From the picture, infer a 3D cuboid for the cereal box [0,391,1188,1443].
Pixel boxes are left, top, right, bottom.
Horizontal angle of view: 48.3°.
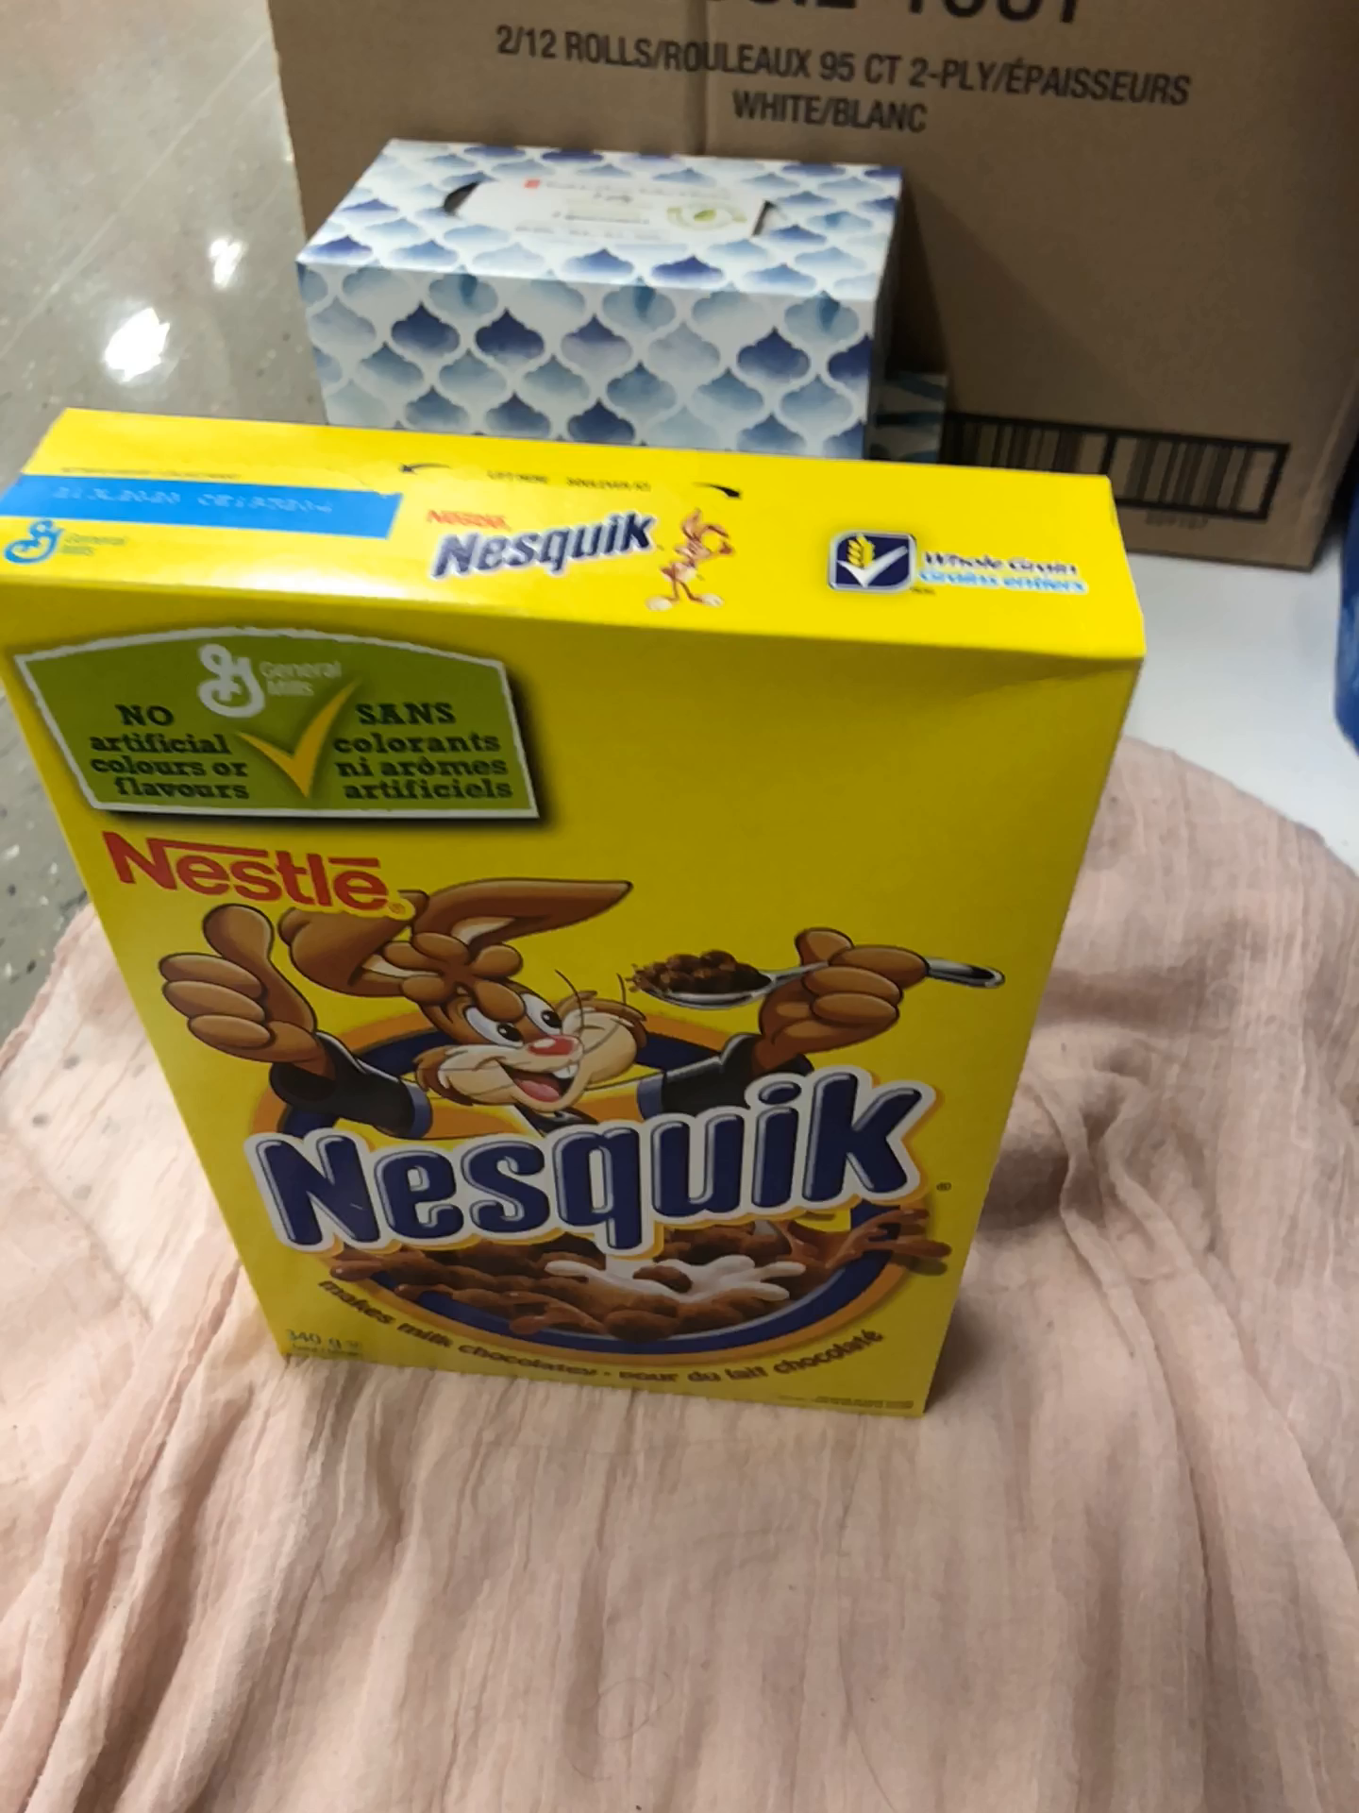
[{"bbox_3d":[-0.024,0.026,0.336,0.200,0.259,0.060,5,49,5],"label":"cereal box"}]
